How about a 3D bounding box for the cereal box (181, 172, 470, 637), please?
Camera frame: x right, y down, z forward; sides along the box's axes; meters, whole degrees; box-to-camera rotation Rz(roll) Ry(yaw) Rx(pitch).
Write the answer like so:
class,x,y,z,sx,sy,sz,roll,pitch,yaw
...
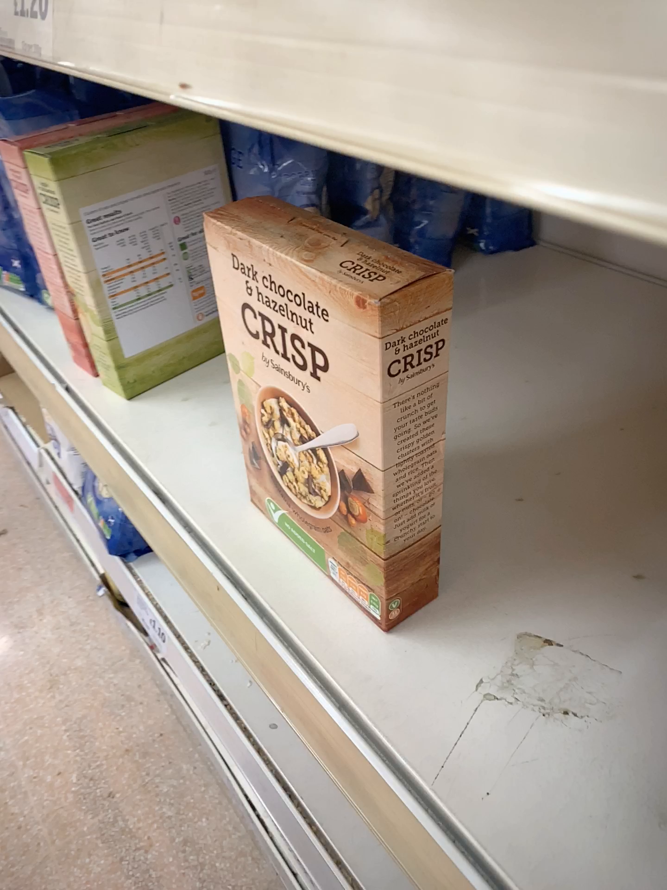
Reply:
class,x,y,z,sx,sy,sz,roll,pitch,yaw
cereal box,-0.008,-0.028,0.457,0.060,0.248,0.191,-26,42,-27
